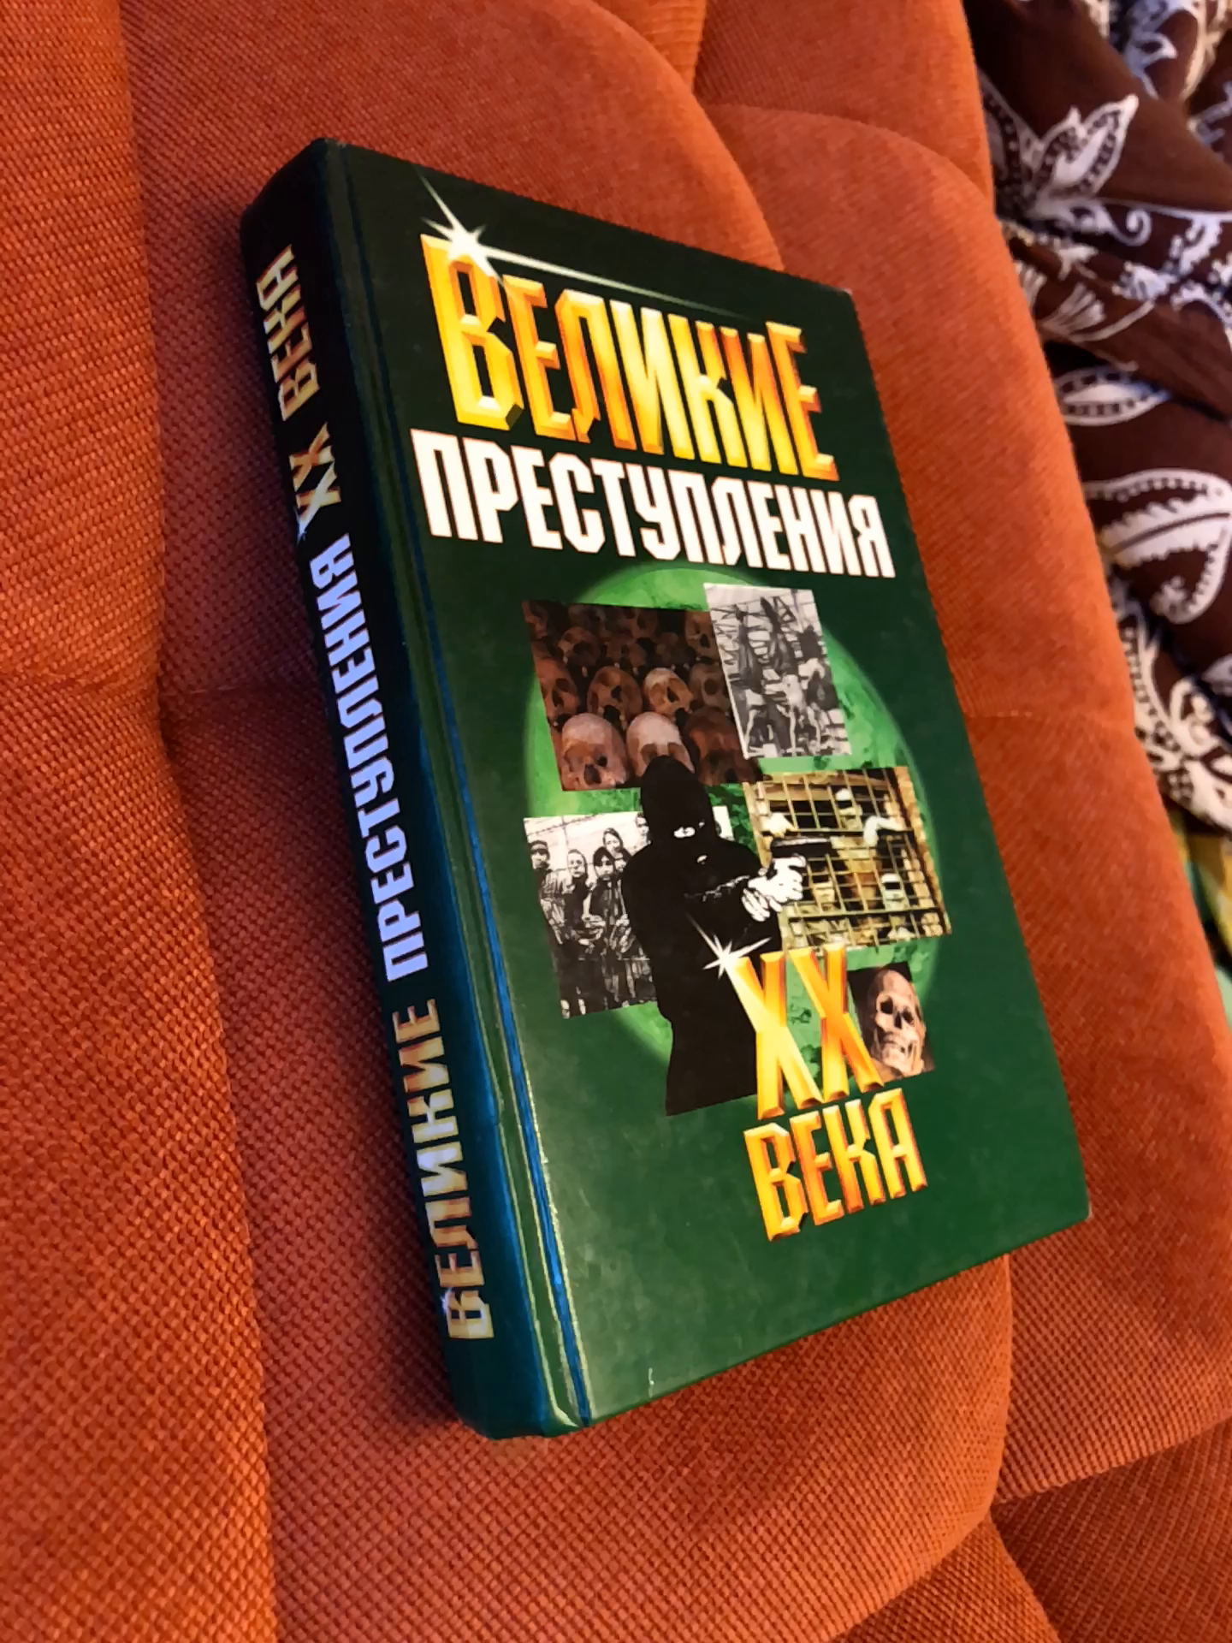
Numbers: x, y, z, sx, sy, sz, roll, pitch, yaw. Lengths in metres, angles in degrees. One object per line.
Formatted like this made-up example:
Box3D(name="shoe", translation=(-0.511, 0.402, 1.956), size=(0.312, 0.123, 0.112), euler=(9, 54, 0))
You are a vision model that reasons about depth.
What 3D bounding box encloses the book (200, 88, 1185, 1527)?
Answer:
Box3D(name="book", translation=(0.019, -0.013, 0.274), size=(0.161, 0.040, 0.230), euler=(-4, 75, -38))
